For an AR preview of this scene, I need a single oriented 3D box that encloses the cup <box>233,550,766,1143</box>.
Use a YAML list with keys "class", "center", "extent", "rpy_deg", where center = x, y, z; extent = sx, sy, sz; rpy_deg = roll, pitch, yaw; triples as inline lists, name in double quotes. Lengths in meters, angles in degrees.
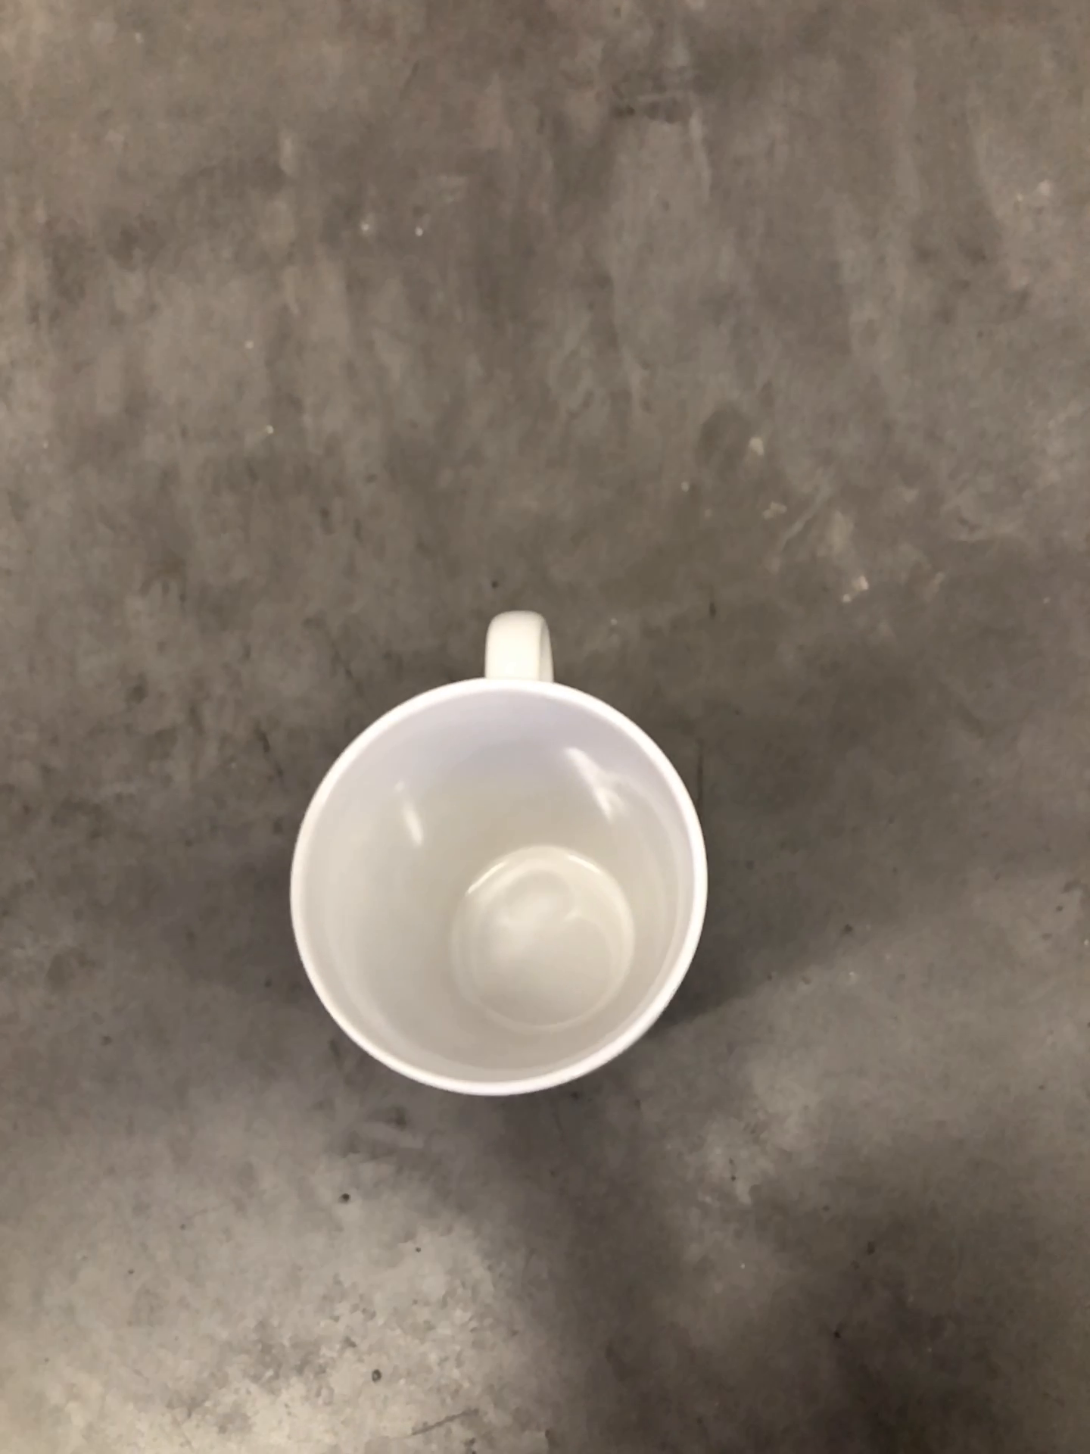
- class: "cup"
  center: [-0.009, 0.038, 0.318]
  extent: [0.111, 0.098, 0.127]
  rpy_deg: [-5, 71, 4]
